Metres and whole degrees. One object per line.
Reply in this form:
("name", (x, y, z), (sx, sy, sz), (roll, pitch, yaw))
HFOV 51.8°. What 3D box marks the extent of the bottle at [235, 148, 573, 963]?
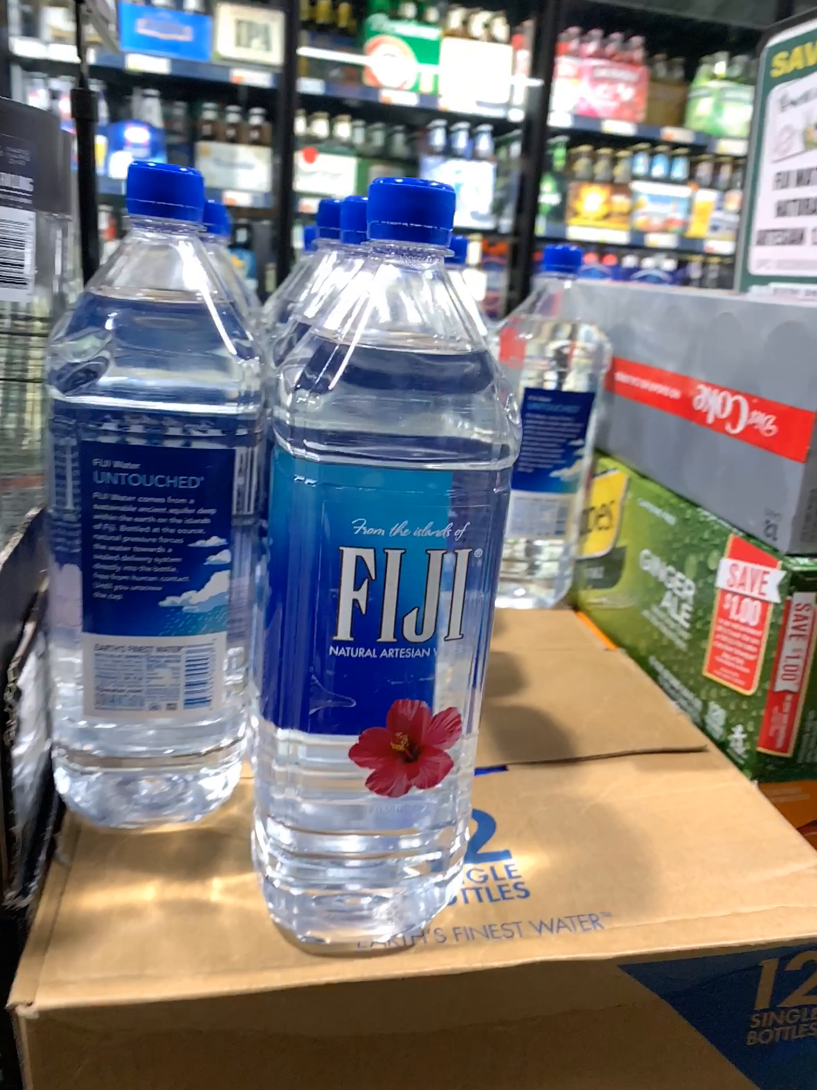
("bottle", (-0.014, 0.013, 0.316), (0.090, 0.279, 0.080), (2, 18, -9))
